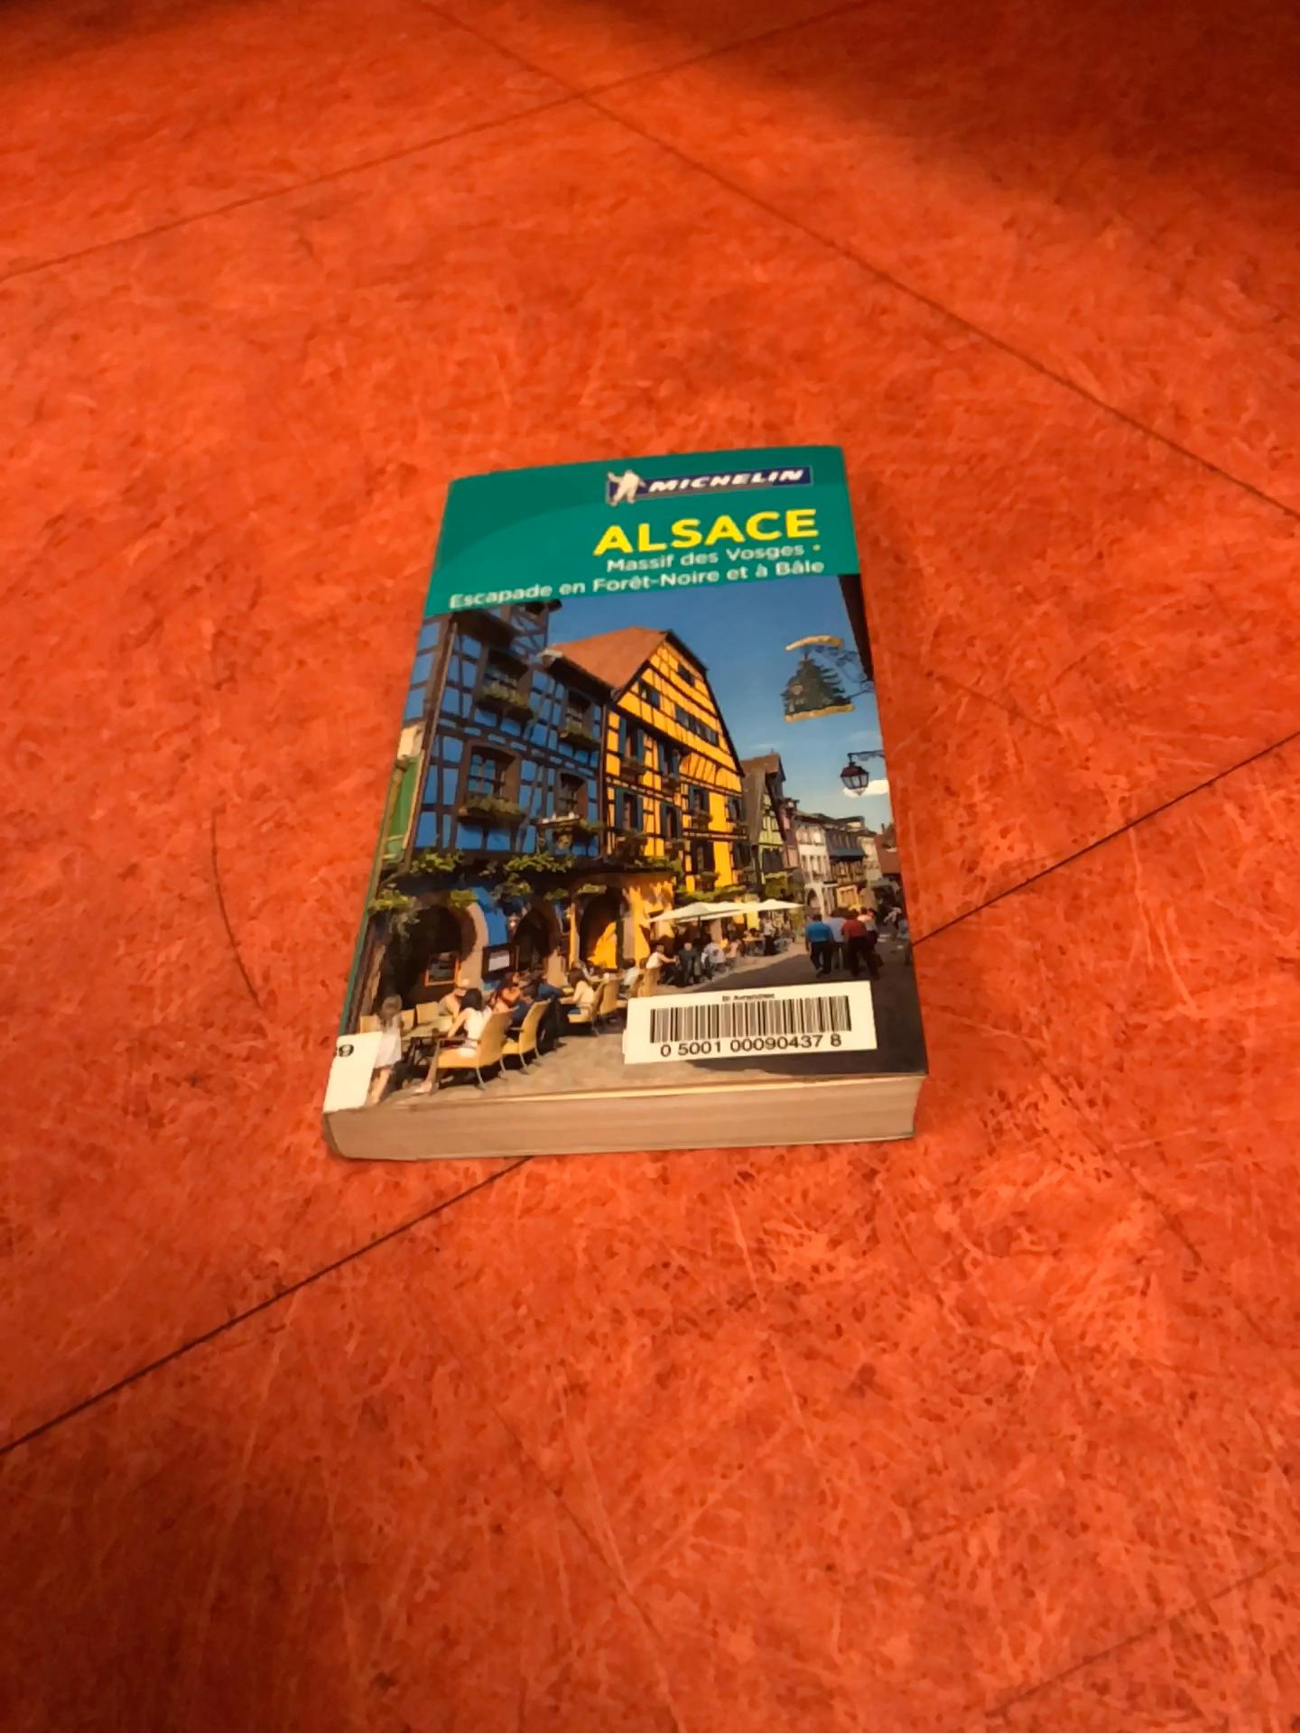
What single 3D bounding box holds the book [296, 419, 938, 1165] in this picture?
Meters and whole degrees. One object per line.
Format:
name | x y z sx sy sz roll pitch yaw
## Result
book | -0.003 -0.032 0.341 0.116 0.030 0.214 -3 47 5
